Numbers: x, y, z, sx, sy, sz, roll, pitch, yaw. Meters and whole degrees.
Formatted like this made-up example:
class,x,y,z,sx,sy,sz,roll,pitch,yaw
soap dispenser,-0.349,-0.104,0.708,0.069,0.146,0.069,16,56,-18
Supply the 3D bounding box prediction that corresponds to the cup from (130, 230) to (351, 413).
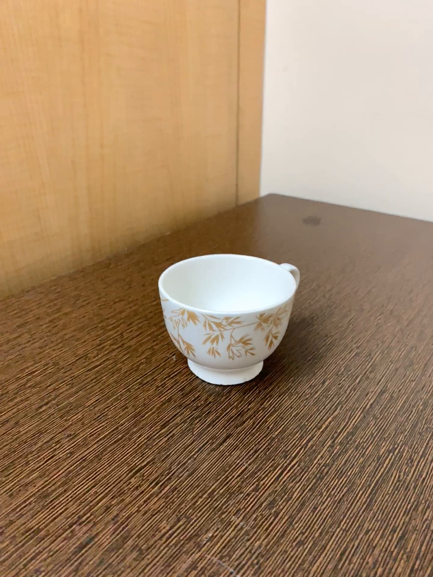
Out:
class,x,y,z,sx,sy,sz,roll,pitch,yaw
cup,0.016,0.010,0.267,0.080,0.050,0.100,21,33,38
